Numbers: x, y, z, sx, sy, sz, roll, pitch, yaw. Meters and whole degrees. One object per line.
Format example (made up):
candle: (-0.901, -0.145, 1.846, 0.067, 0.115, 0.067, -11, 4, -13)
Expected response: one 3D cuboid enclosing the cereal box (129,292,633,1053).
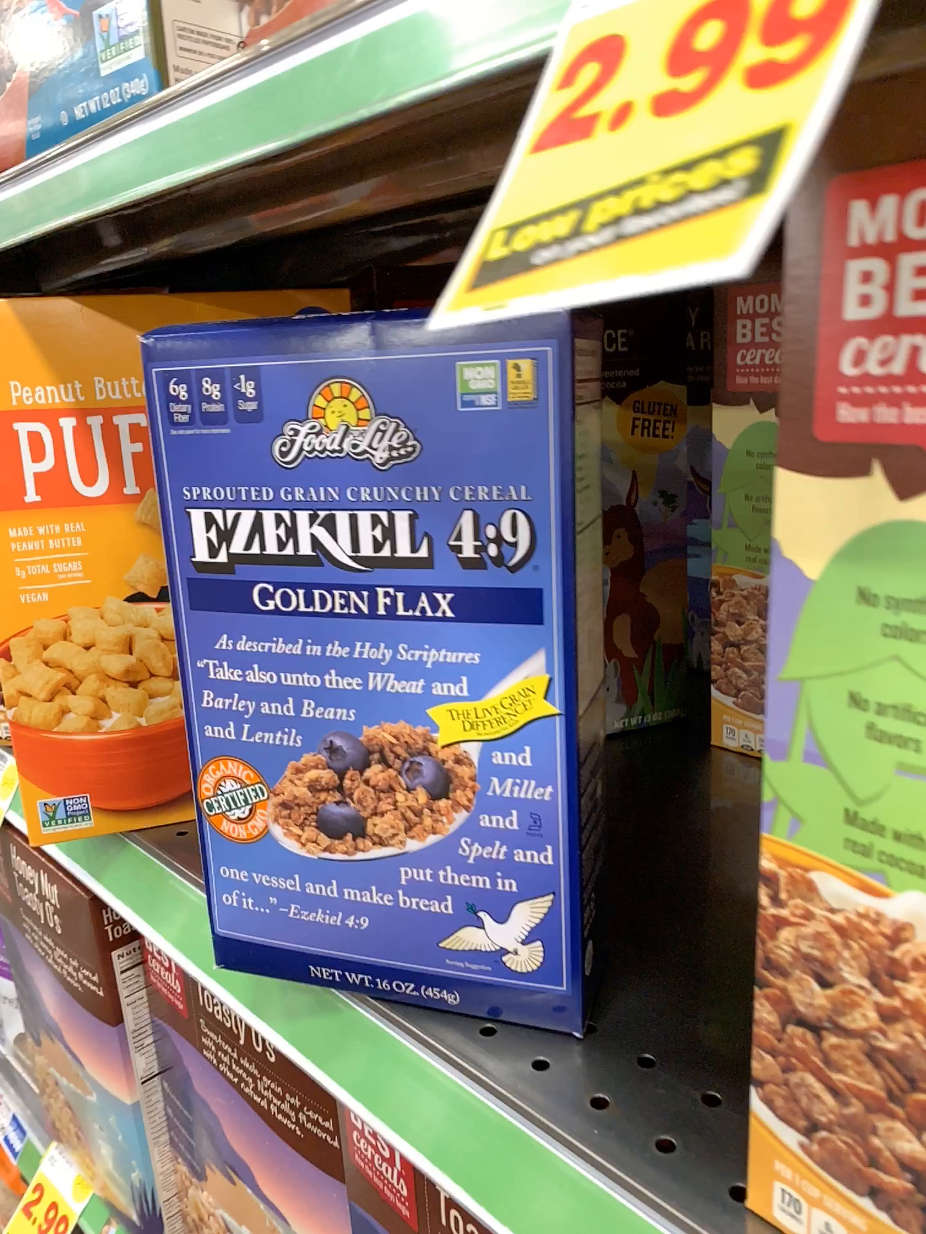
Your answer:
cereal box: (-0.023, 0.019, 0.355, 0.160, 0.249, 0.060, 2, 14, 20)
